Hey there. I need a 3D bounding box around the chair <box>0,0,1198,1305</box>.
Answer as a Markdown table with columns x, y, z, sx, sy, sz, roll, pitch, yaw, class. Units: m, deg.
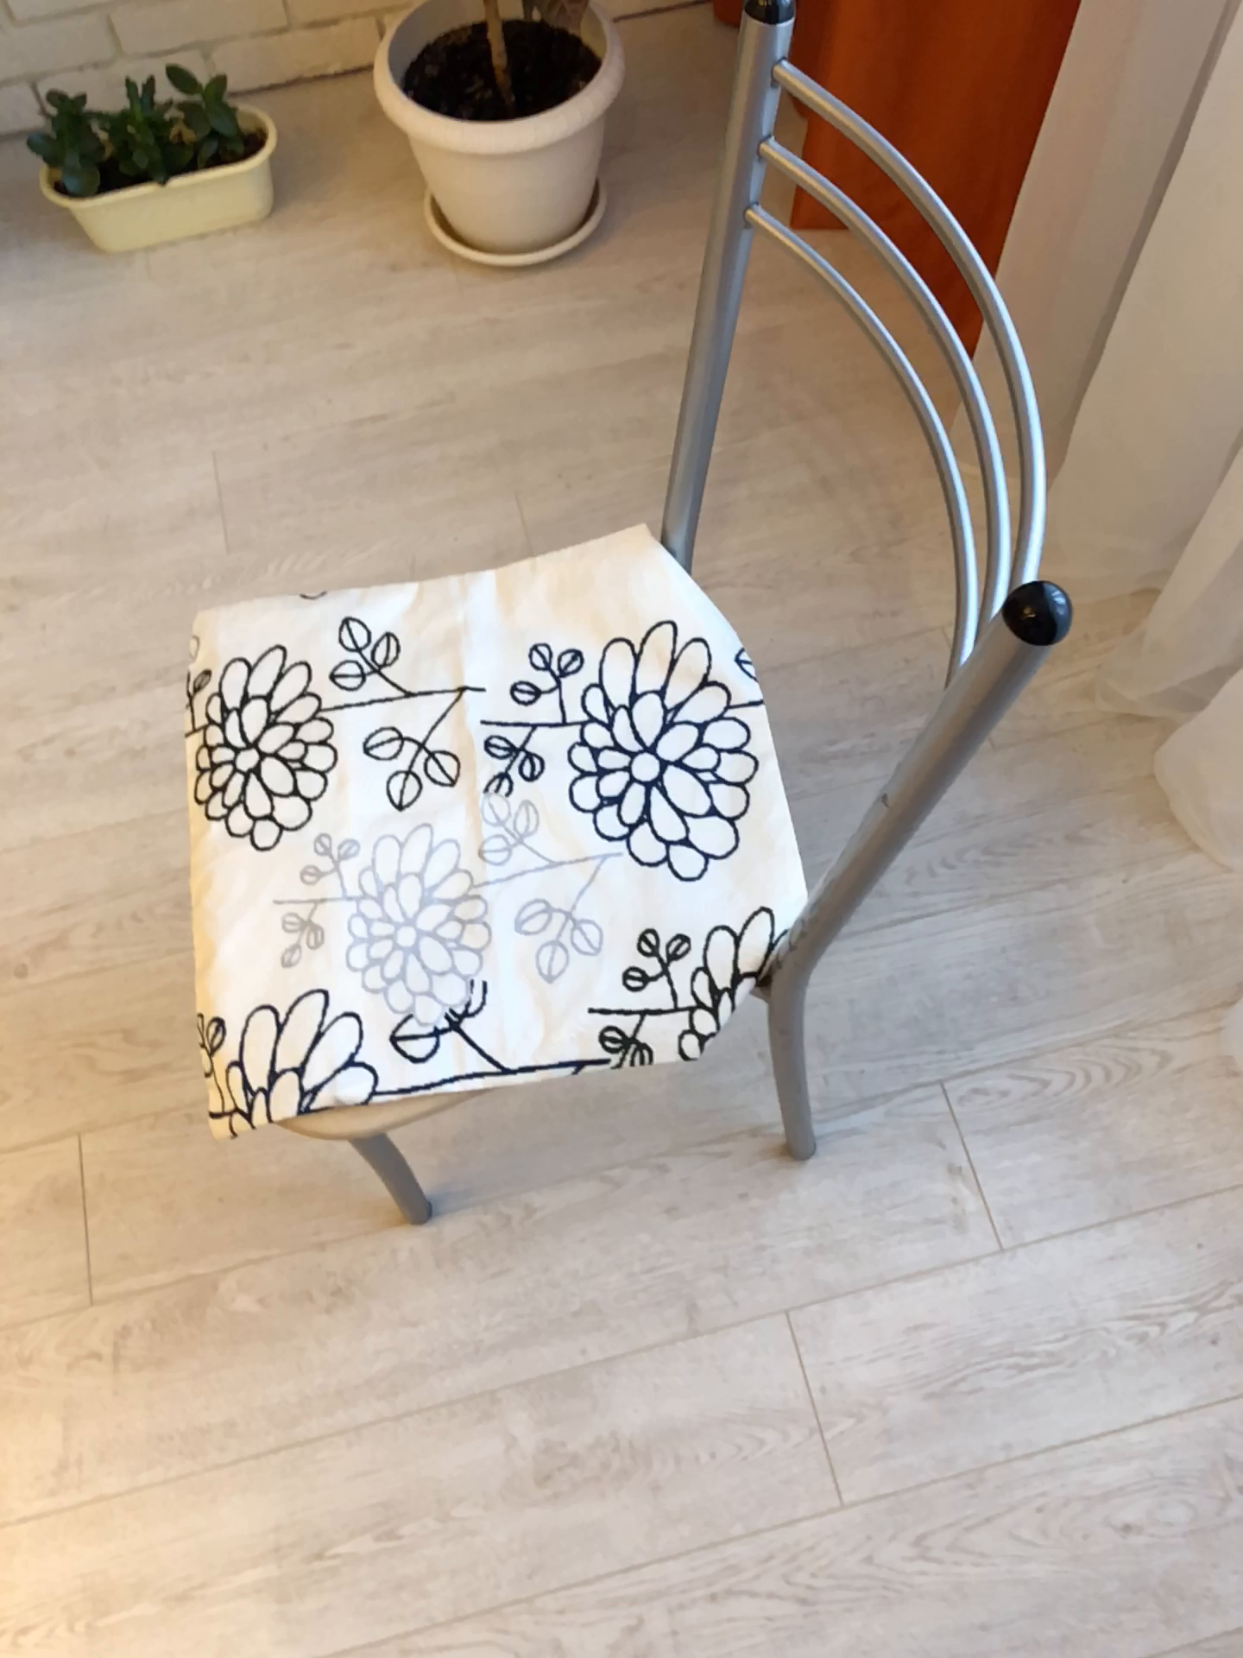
| x | y | z | sx | sy | sz | roll | pitch | yaw | class |
| --- | --- | --- | --- | --- | --- | --- | --- | --- | --- |
| -0.052 | -0.007 | 0.898 | 0.440 | 0.797 | 0.422 | -14 | 64 | -4 | chair |
